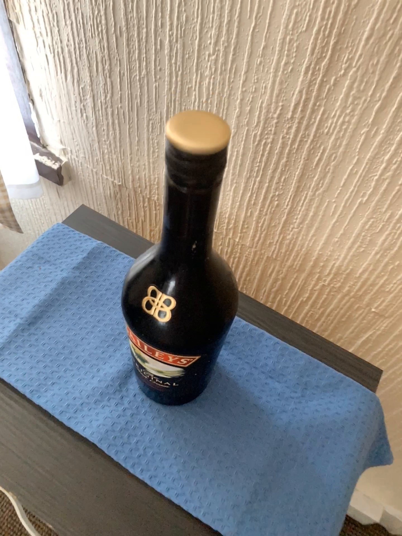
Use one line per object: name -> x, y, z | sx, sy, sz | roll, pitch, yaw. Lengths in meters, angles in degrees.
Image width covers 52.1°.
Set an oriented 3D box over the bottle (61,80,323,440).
bottle -> -0.014, 0.032, 0.295 | 0.090, 0.288, 0.070 | 29, 57, 14
